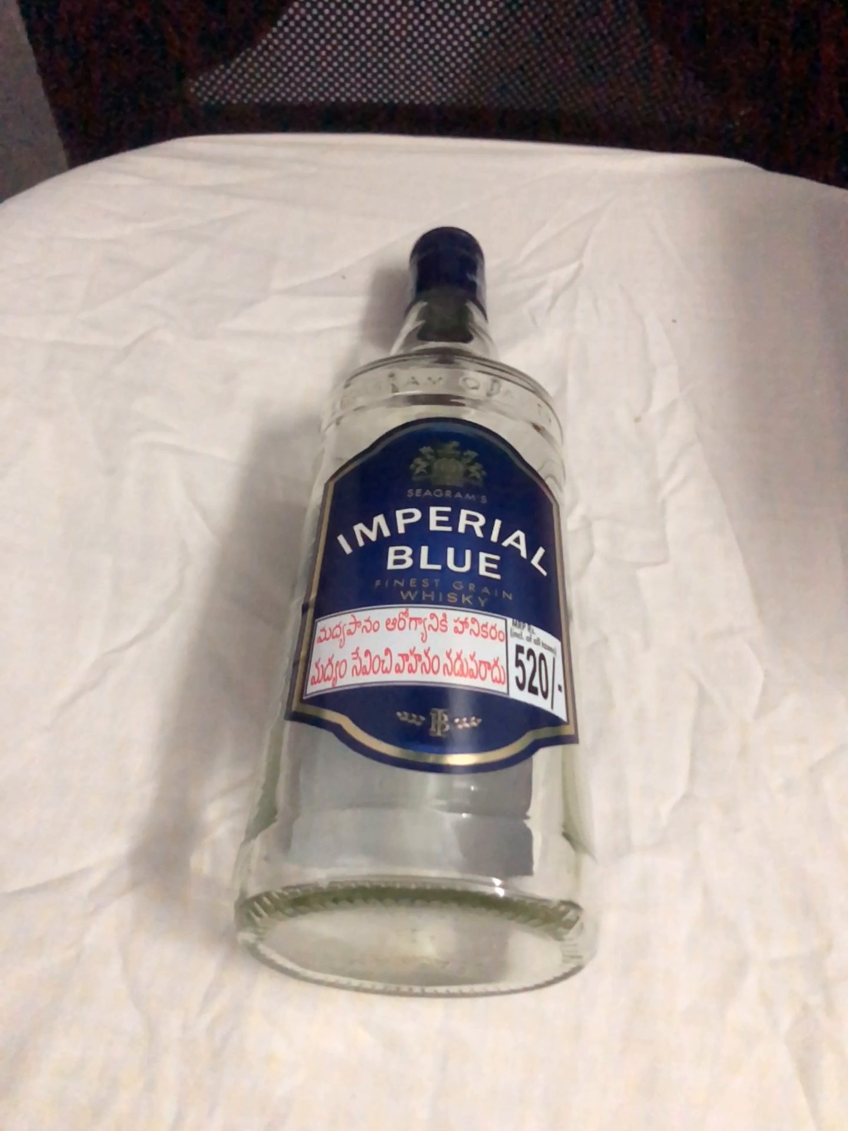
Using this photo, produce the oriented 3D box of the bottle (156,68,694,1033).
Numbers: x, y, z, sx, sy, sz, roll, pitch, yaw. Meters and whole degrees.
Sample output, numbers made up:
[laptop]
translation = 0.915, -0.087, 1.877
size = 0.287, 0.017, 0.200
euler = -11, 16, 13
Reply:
[bottle]
translation = 0.005, -0.026, 0.266
size = 0.090, 0.080, 0.271
euler = 4, 56, -1
